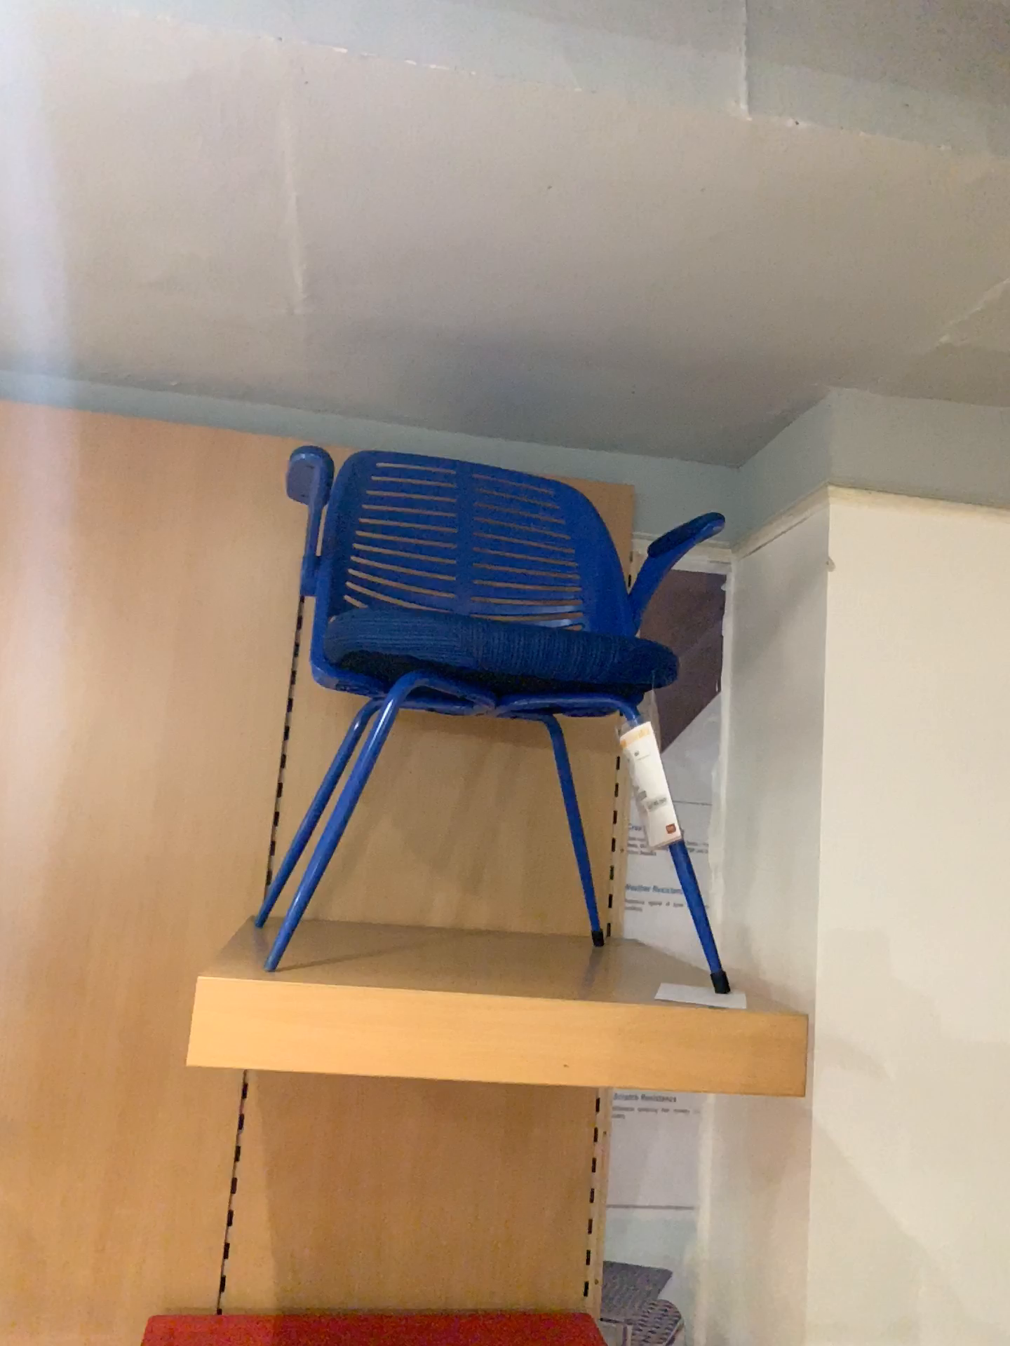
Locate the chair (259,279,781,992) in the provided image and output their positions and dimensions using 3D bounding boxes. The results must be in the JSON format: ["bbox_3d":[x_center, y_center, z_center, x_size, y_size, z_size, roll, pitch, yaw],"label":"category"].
[{"bbox_3d":[-0.013,-0.010,1.485,0.570,0.791,0.549,7,-9,-13],"label":"chair"}]
